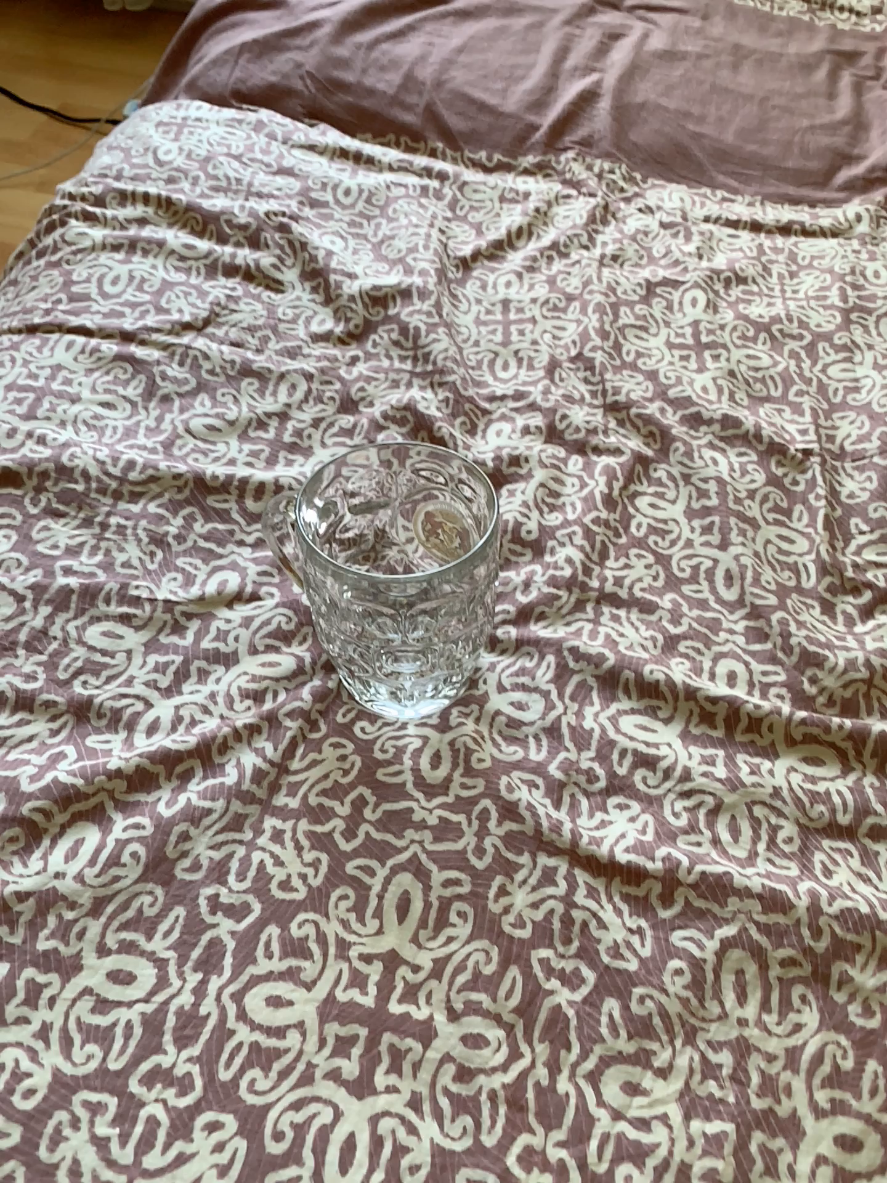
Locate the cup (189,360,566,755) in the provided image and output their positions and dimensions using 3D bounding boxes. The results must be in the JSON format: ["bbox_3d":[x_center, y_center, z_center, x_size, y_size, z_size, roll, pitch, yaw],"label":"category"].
[{"bbox_3d":[-0.031,-0.016,0.424,0.130,0.109,0.091,27,52,14],"label":"cup"}]
